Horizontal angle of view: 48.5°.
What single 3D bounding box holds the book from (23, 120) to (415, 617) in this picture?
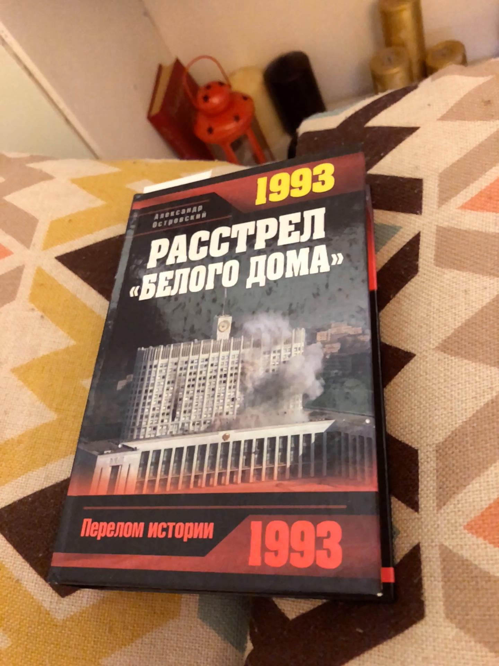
[{"bbox_3d":[-0.009,0.006,0.250,0.140,0.030,0.211,-9,58,21],"label":"book"}]
